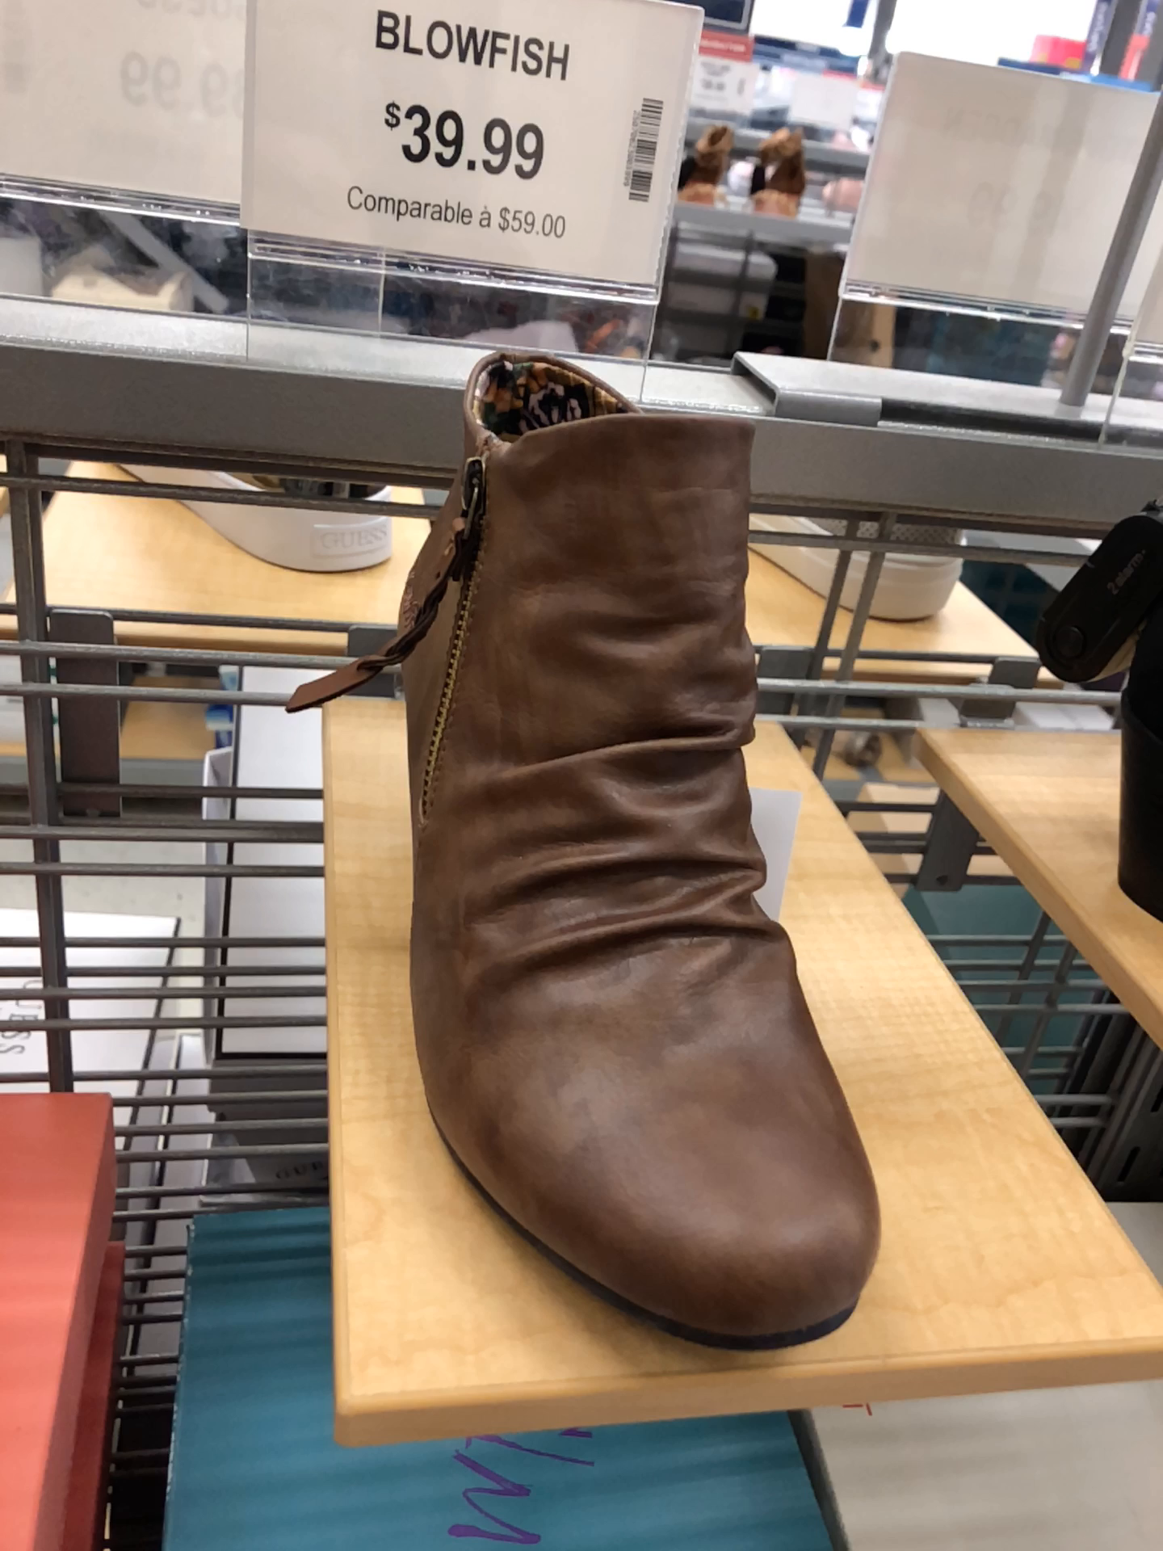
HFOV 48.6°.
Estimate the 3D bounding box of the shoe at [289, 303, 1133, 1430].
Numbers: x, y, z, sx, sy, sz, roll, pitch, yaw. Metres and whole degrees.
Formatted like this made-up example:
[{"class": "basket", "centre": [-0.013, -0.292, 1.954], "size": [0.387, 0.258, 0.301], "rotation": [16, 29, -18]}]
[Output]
[{"class": "shoe", "centre": [-0.007, -0.008, 0.296], "size": [0.090, 0.139, 0.232], "rotation": [-1, 30, -19]}]
